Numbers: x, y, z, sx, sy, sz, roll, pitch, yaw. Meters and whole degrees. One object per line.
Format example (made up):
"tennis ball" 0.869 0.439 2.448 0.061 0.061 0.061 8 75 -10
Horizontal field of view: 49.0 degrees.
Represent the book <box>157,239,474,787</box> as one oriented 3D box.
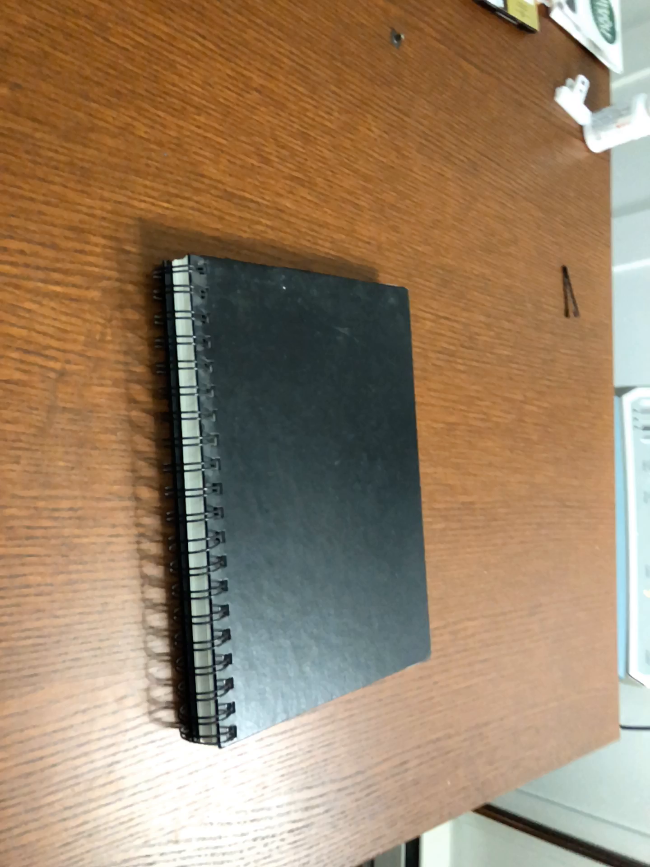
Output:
"book" 0.008 0.033 0.417 0.201 0.030 0.260 -5 91 -44
